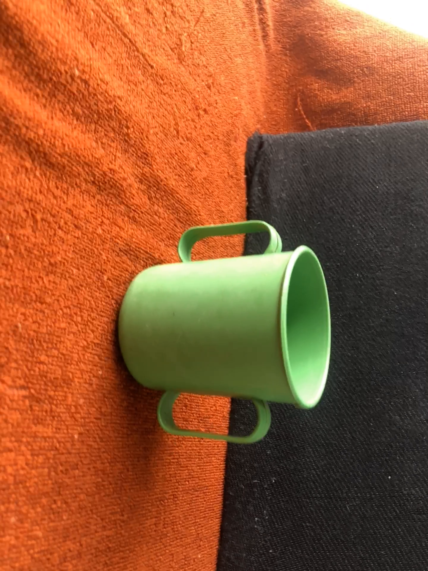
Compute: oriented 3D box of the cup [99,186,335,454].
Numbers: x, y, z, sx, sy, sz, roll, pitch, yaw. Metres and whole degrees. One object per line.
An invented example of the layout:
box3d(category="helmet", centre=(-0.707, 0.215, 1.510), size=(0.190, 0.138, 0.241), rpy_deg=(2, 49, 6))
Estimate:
box3d(category="cup", centre=(0.008, 0.019, 0.229), size=(0.081, 0.079, 0.100), rpy_deg=(23, 69, -62))
